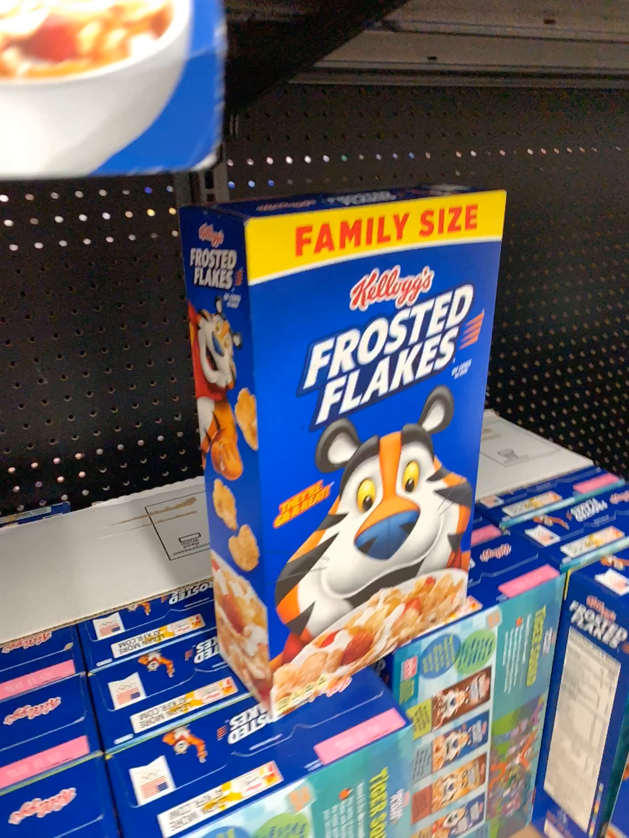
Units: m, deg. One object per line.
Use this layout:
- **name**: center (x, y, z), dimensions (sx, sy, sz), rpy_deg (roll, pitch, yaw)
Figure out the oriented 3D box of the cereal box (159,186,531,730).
- **cereal box**: center (0.026, 0.018, 0.441), dimensions (0.210, 0.318, 0.080), rpy_deg (-16, 28, -31)
